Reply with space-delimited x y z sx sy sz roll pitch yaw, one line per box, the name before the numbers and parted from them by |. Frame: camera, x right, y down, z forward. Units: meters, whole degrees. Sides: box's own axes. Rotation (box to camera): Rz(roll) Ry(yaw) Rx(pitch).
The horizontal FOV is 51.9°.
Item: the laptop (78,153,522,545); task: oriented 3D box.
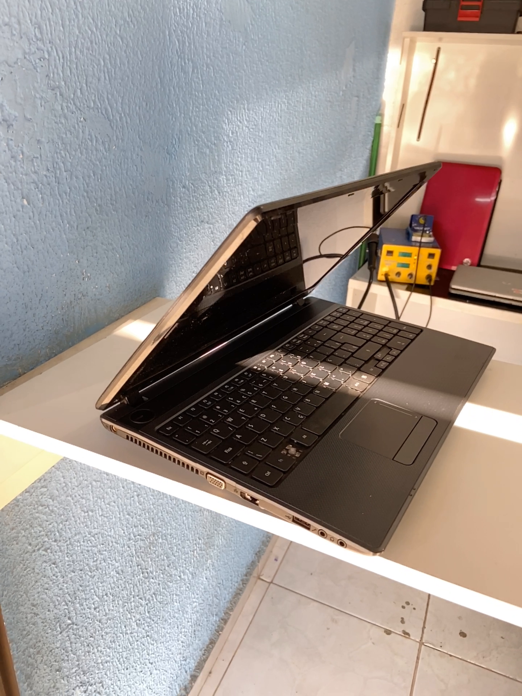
laptop | 0.074 -0.059 0.503 0.247 0.191 0.378 18 28 28
